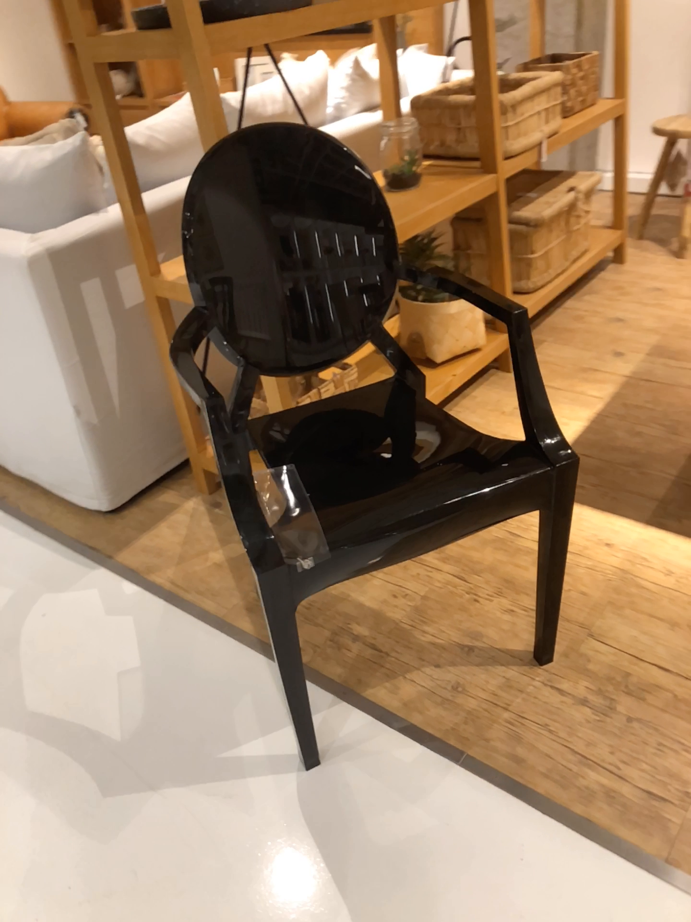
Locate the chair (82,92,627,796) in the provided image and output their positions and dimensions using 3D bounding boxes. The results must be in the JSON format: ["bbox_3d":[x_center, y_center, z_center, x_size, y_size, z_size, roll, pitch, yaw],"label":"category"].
[{"bbox_3d":[0.013,-0.065,1.296,0.541,0.903,0.593,-21,35,-20],"label":"chair"}]
